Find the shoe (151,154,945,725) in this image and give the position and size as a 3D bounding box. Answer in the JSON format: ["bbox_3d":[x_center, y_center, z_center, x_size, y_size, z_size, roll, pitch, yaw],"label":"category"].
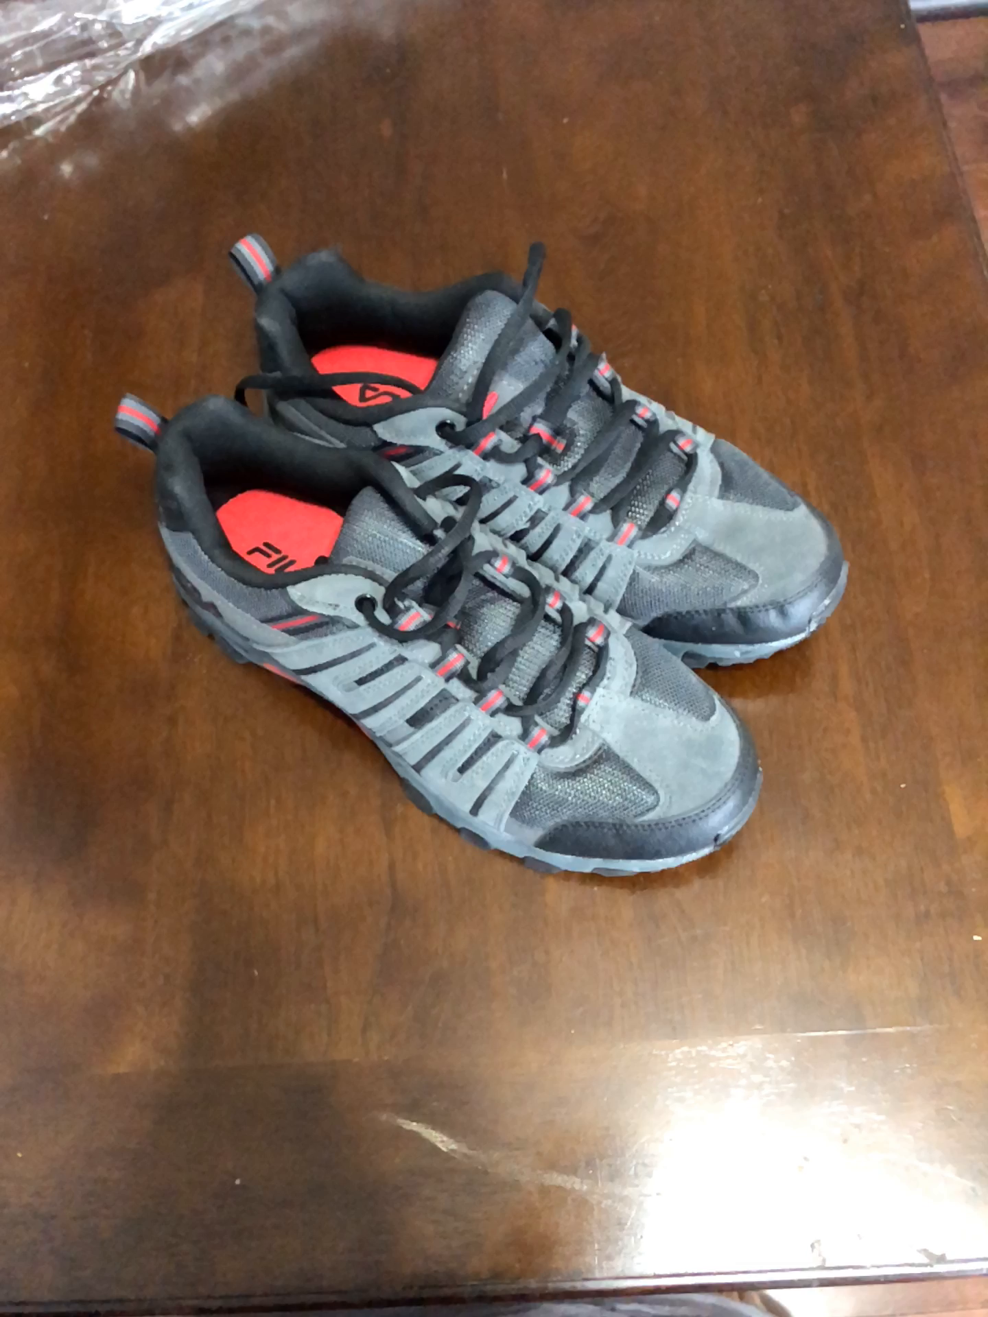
[{"bbox_3d":[0.019,-0.102,0.488,0.300,0.100,0.120,25,71,16],"label":"shoe"}]

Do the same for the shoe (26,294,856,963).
[{"bbox_3d":[-0.026,-0.018,0.455,0.300,0.100,0.120,31,73,18],"label":"shoe"}]
